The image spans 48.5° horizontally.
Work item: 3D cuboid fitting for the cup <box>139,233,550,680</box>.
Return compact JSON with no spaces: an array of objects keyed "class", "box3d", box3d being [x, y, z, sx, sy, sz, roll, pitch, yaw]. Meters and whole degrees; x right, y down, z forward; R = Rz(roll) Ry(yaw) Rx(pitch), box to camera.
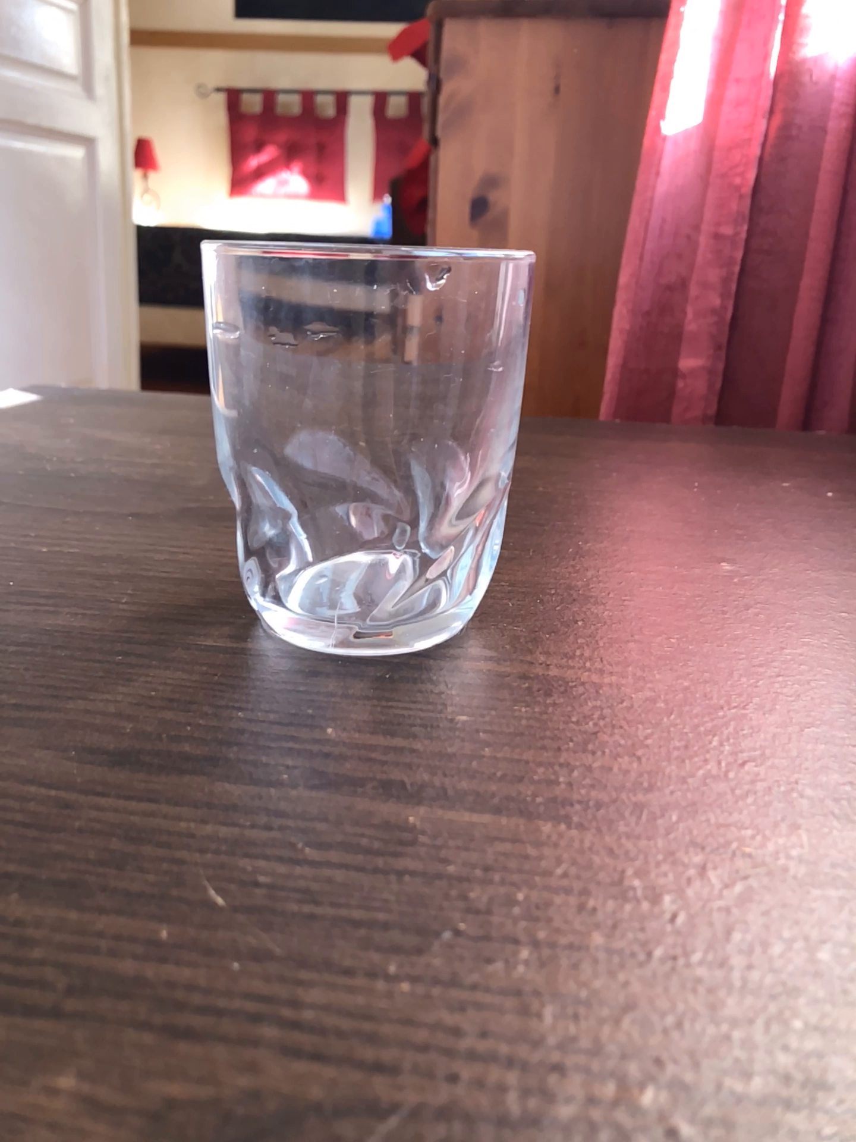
[{"class":"cup","box3d":[-0.014,-0.033,0.227,0.075,0.085,0.078,2,19,-1]}]
